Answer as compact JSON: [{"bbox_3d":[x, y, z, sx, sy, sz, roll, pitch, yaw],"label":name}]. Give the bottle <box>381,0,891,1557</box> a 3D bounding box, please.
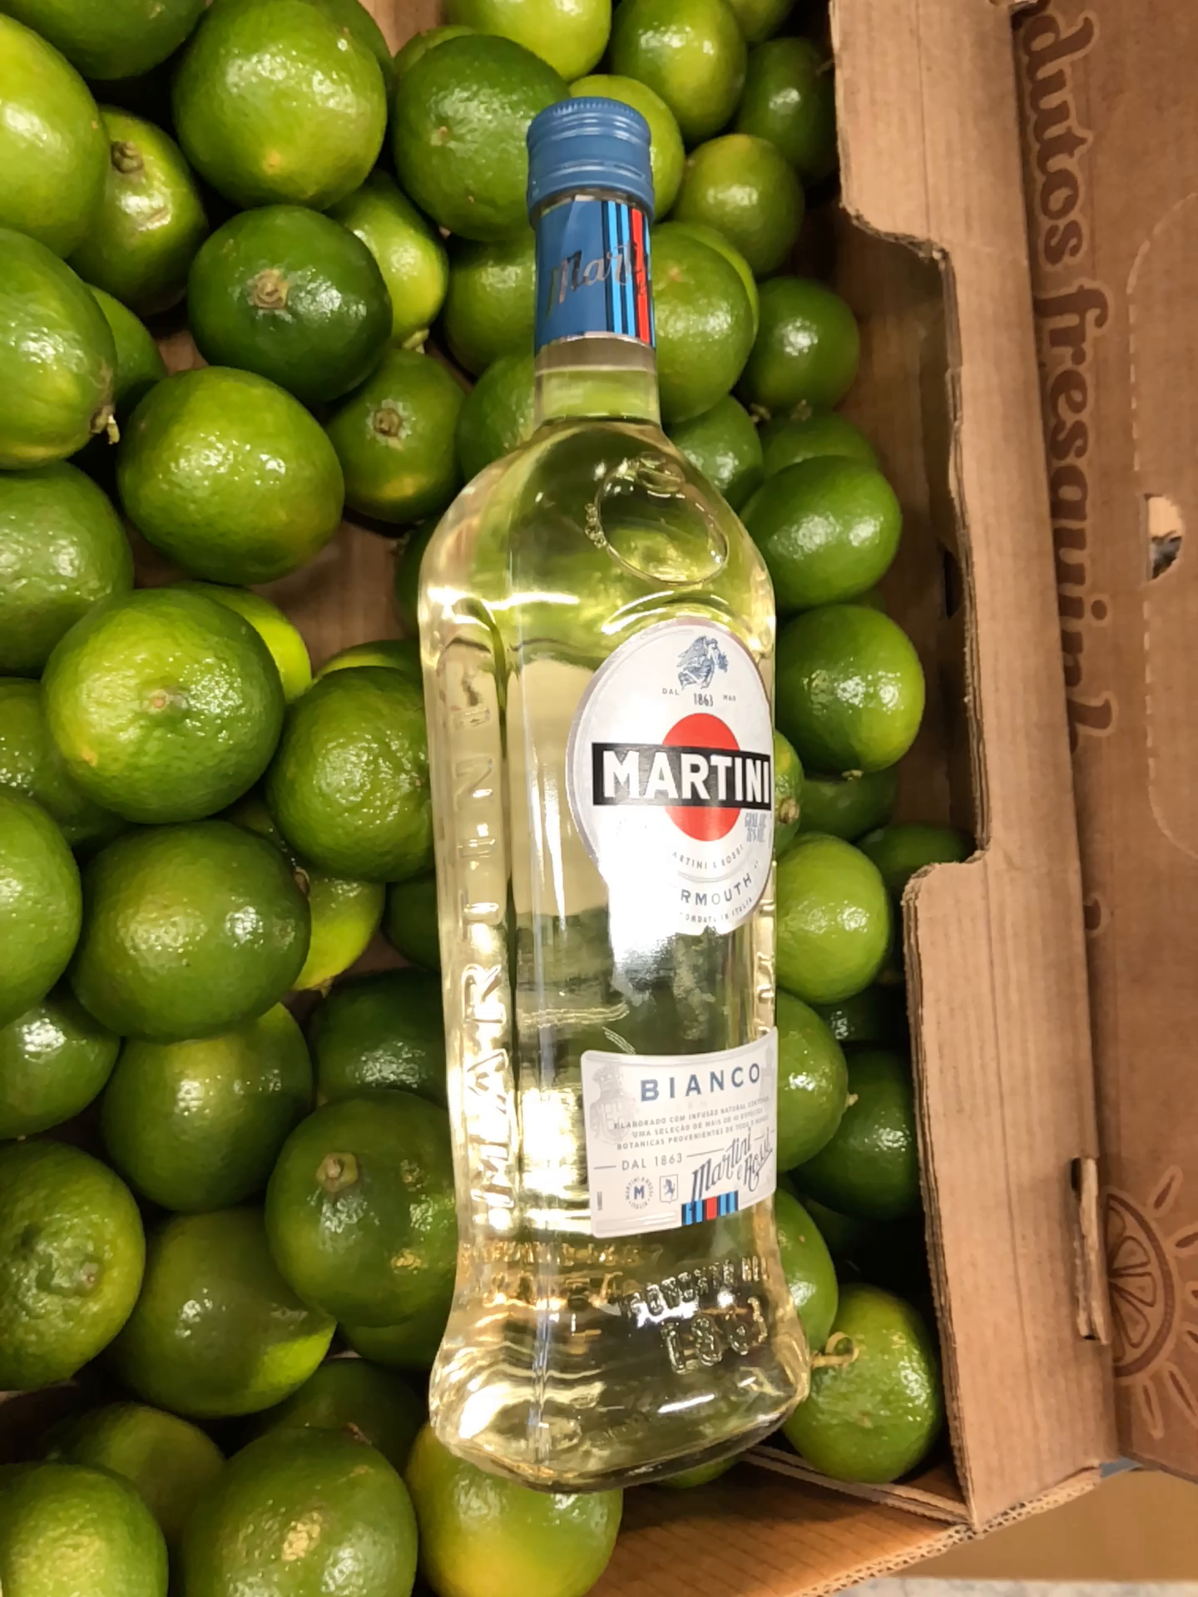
[{"bbox_3d":[0.008,-0.014,0.316,0.100,0.050,0.320,4,81,-39],"label":"bottle"}]
